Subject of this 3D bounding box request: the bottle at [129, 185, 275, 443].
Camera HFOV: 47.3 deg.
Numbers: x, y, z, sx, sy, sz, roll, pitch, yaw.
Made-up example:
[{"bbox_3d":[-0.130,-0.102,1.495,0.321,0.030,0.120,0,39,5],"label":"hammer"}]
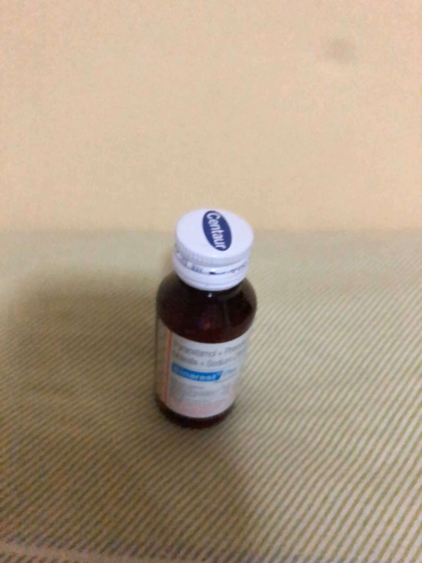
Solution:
[{"bbox_3d":[-0.003,0.018,0.184,0.040,0.100,0.037,2,45,-2],"label":"bottle"}]
